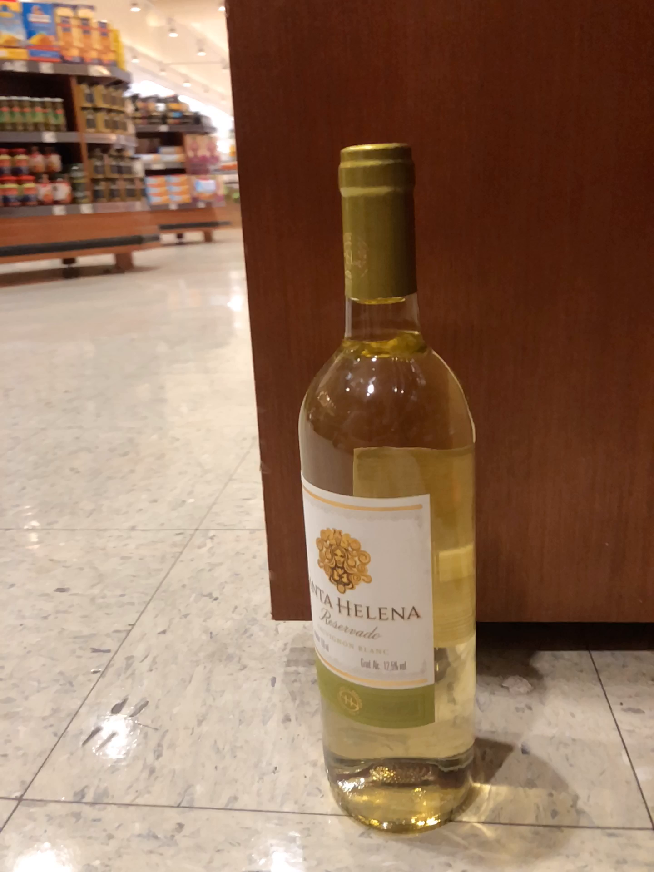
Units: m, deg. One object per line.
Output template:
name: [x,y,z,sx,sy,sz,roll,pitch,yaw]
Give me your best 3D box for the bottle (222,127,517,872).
bottle: [0.023,0.027,0.301,0.080,0.278,0.070,11,22,39]
